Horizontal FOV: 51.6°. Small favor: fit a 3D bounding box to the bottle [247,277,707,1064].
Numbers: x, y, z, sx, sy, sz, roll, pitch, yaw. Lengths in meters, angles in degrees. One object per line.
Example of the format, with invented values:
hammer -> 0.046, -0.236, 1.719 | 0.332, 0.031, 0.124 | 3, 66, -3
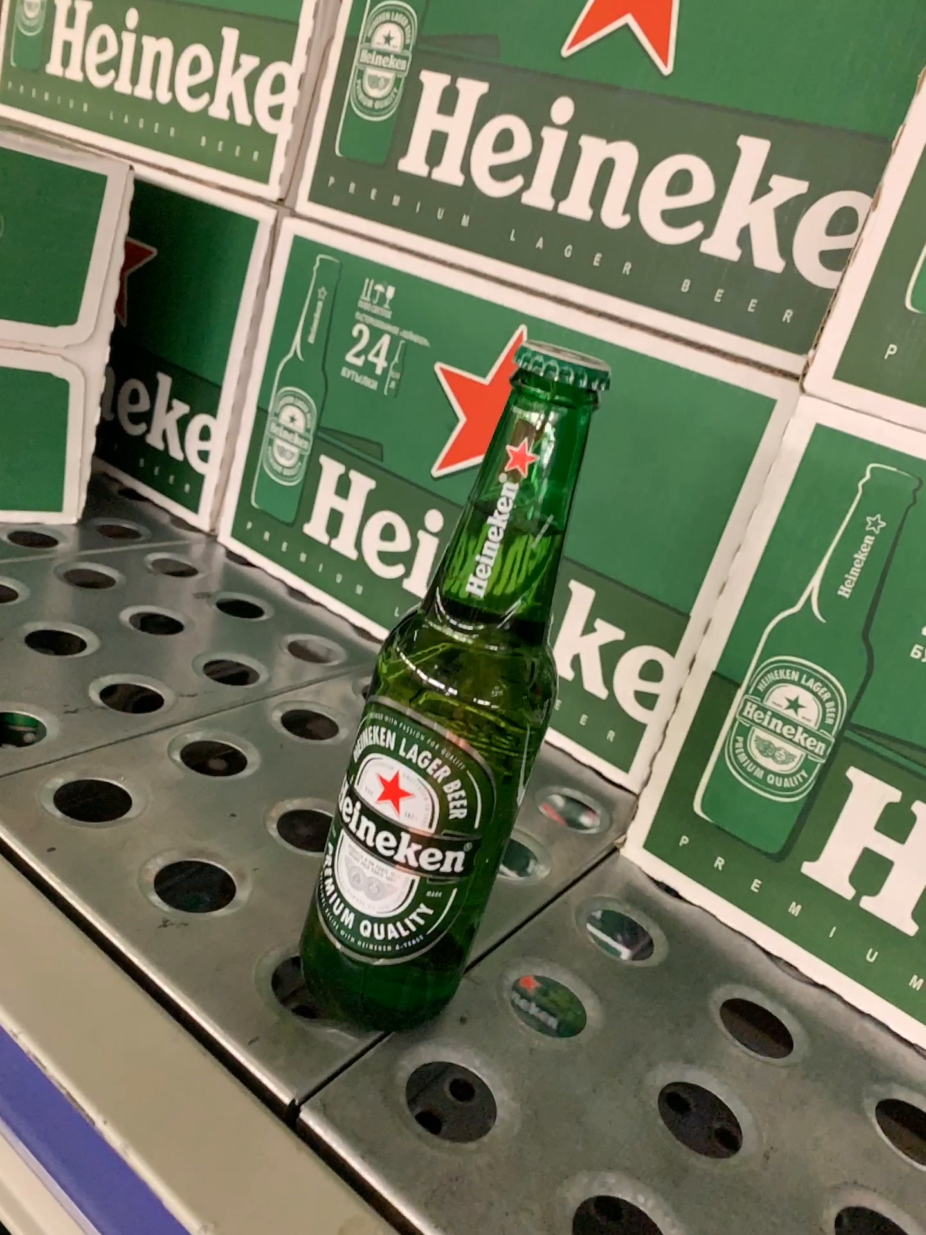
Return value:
bottle -> -0.002, 0.021, 0.299 | 0.060, 0.225, 0.060 | 15, 20, -6
